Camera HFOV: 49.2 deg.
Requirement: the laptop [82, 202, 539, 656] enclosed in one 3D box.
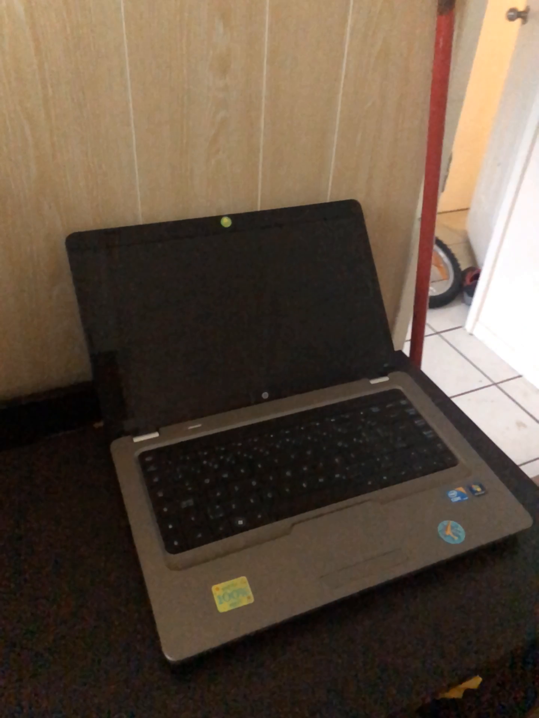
[{"bbox_3d":[0.025,0.015,0.622,0.356,0.166,0.404,-12,41,-19],"label":"laptop"}]
